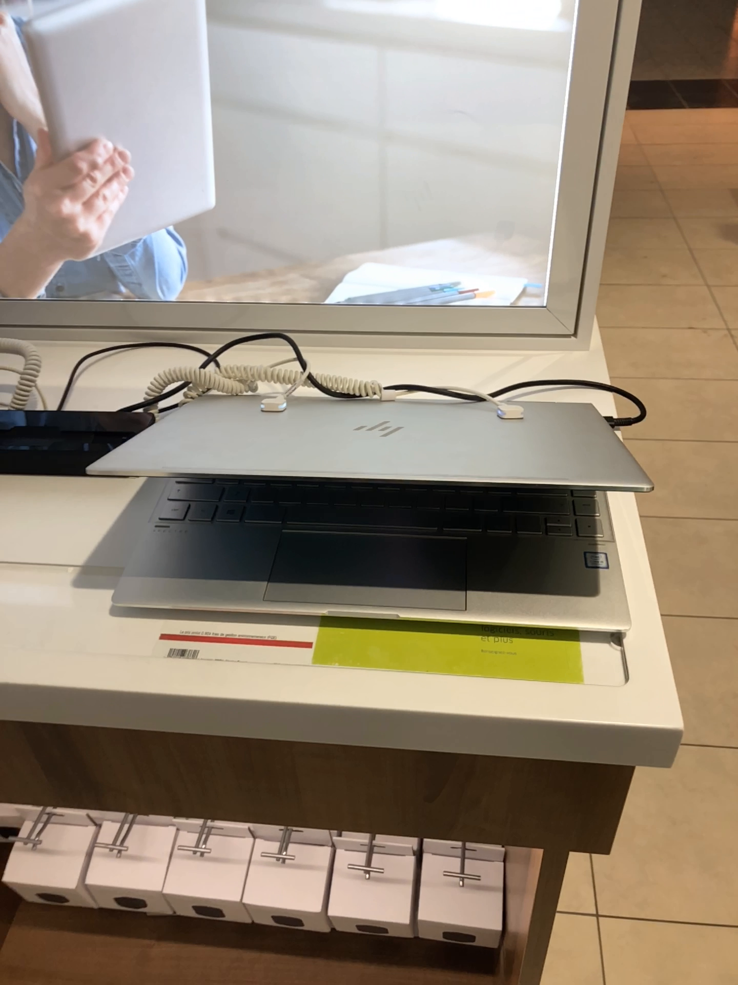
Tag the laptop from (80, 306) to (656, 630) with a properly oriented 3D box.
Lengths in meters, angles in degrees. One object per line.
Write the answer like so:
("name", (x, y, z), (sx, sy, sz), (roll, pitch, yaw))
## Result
("laptop", (0.006, -0.030, 0.521), (0.298, 0.078, 0.212), (2, 41, 6))
